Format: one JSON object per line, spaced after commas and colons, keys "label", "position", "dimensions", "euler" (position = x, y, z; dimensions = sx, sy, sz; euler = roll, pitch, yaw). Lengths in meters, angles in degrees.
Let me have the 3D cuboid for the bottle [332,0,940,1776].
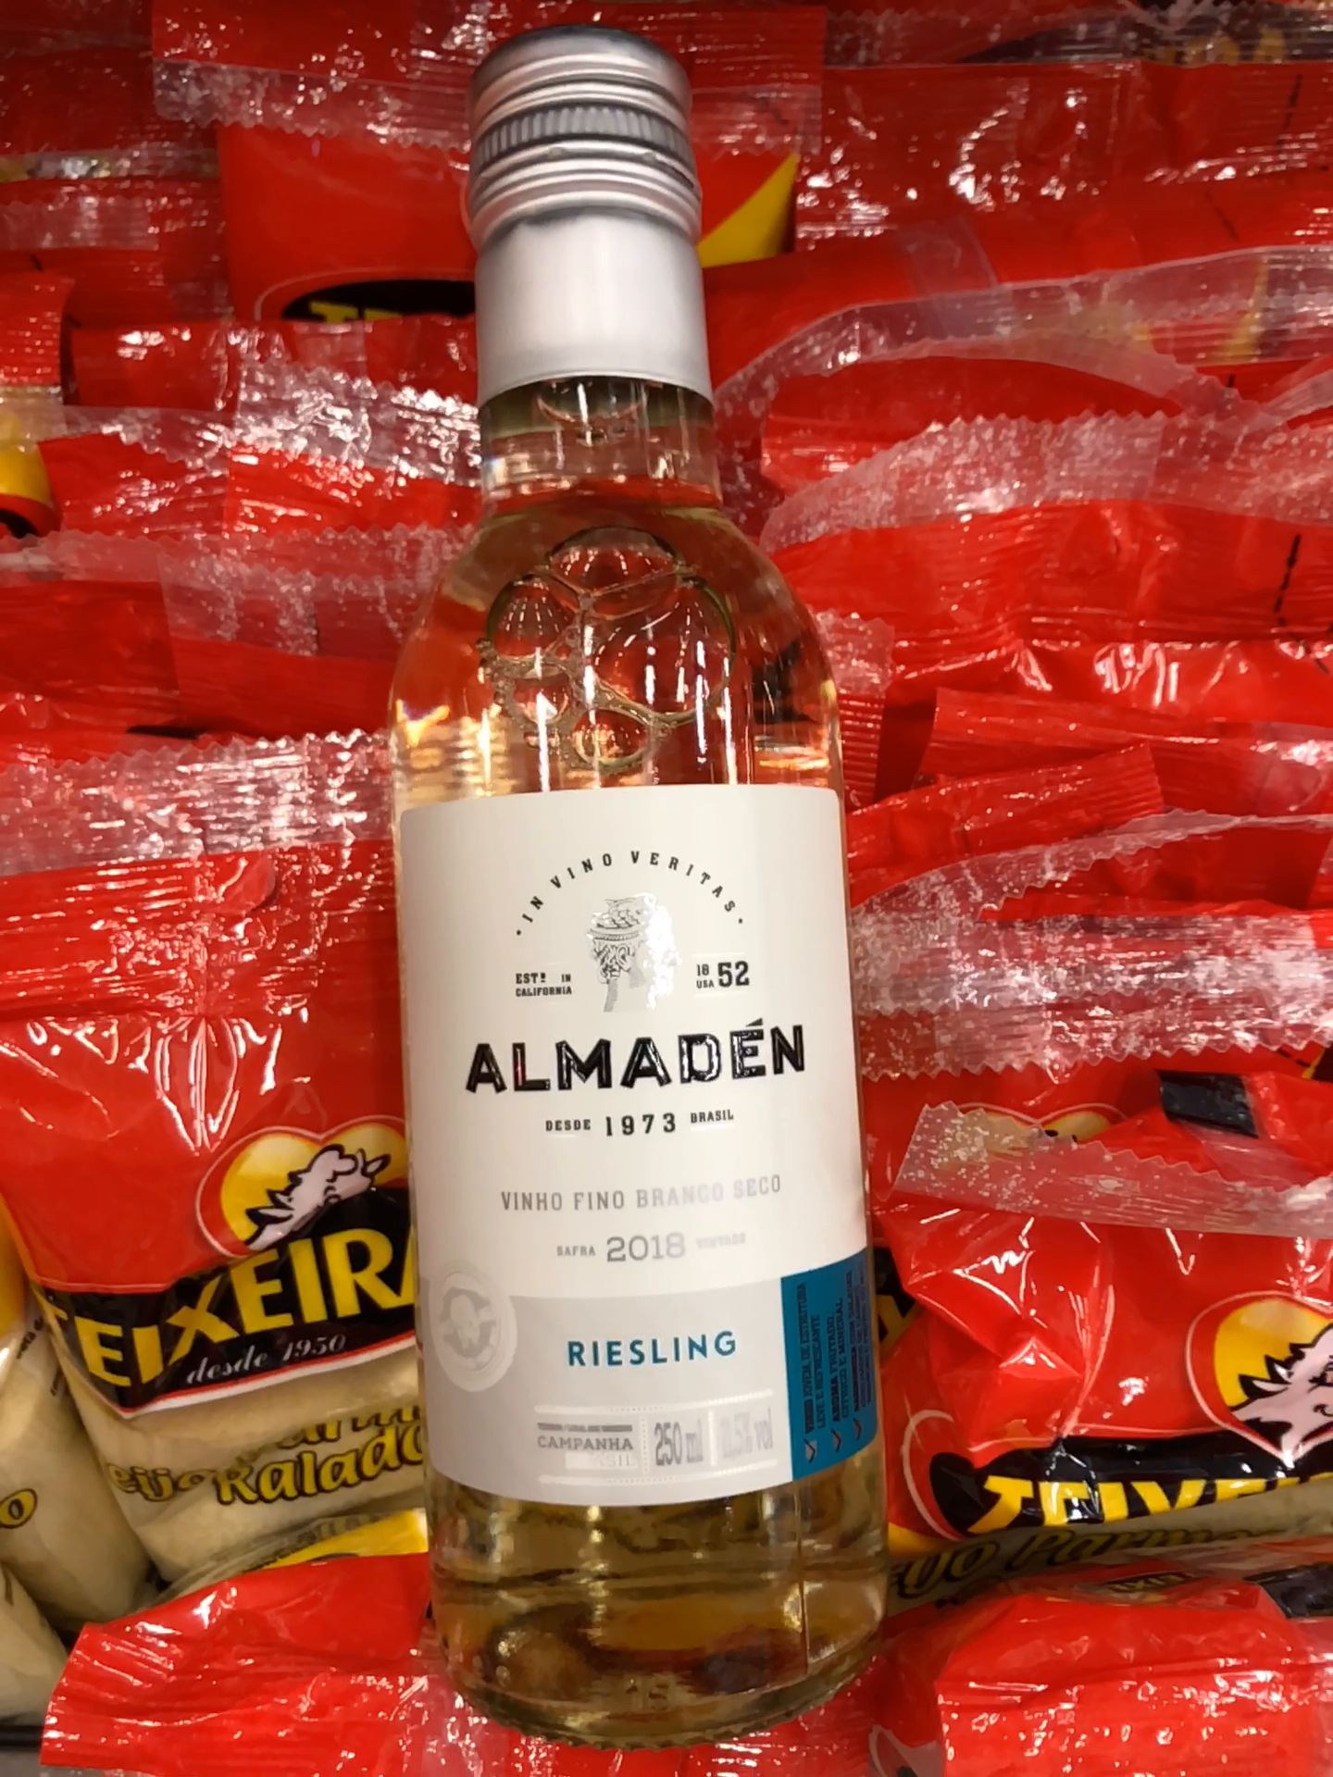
{"label": "bottle", "position": [-0.006, -0.011, 0.186], "dimensions": [0.060, 0.040, 0.210], "euler": [-2, 84, -1]}
